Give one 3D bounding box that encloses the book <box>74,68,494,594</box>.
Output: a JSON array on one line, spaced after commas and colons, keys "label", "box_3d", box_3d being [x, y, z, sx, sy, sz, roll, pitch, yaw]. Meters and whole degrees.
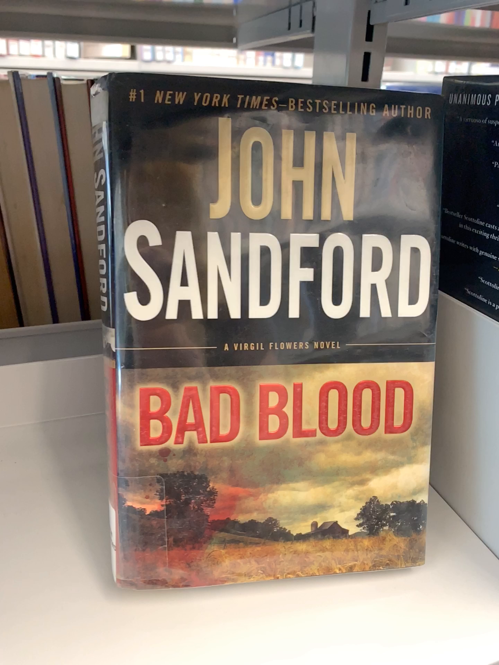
[{"label": "book", "box_3d": [0.016, 0.001, 0.243, 0.165, 0.215, 0.050, -2, 10, -7]}]
